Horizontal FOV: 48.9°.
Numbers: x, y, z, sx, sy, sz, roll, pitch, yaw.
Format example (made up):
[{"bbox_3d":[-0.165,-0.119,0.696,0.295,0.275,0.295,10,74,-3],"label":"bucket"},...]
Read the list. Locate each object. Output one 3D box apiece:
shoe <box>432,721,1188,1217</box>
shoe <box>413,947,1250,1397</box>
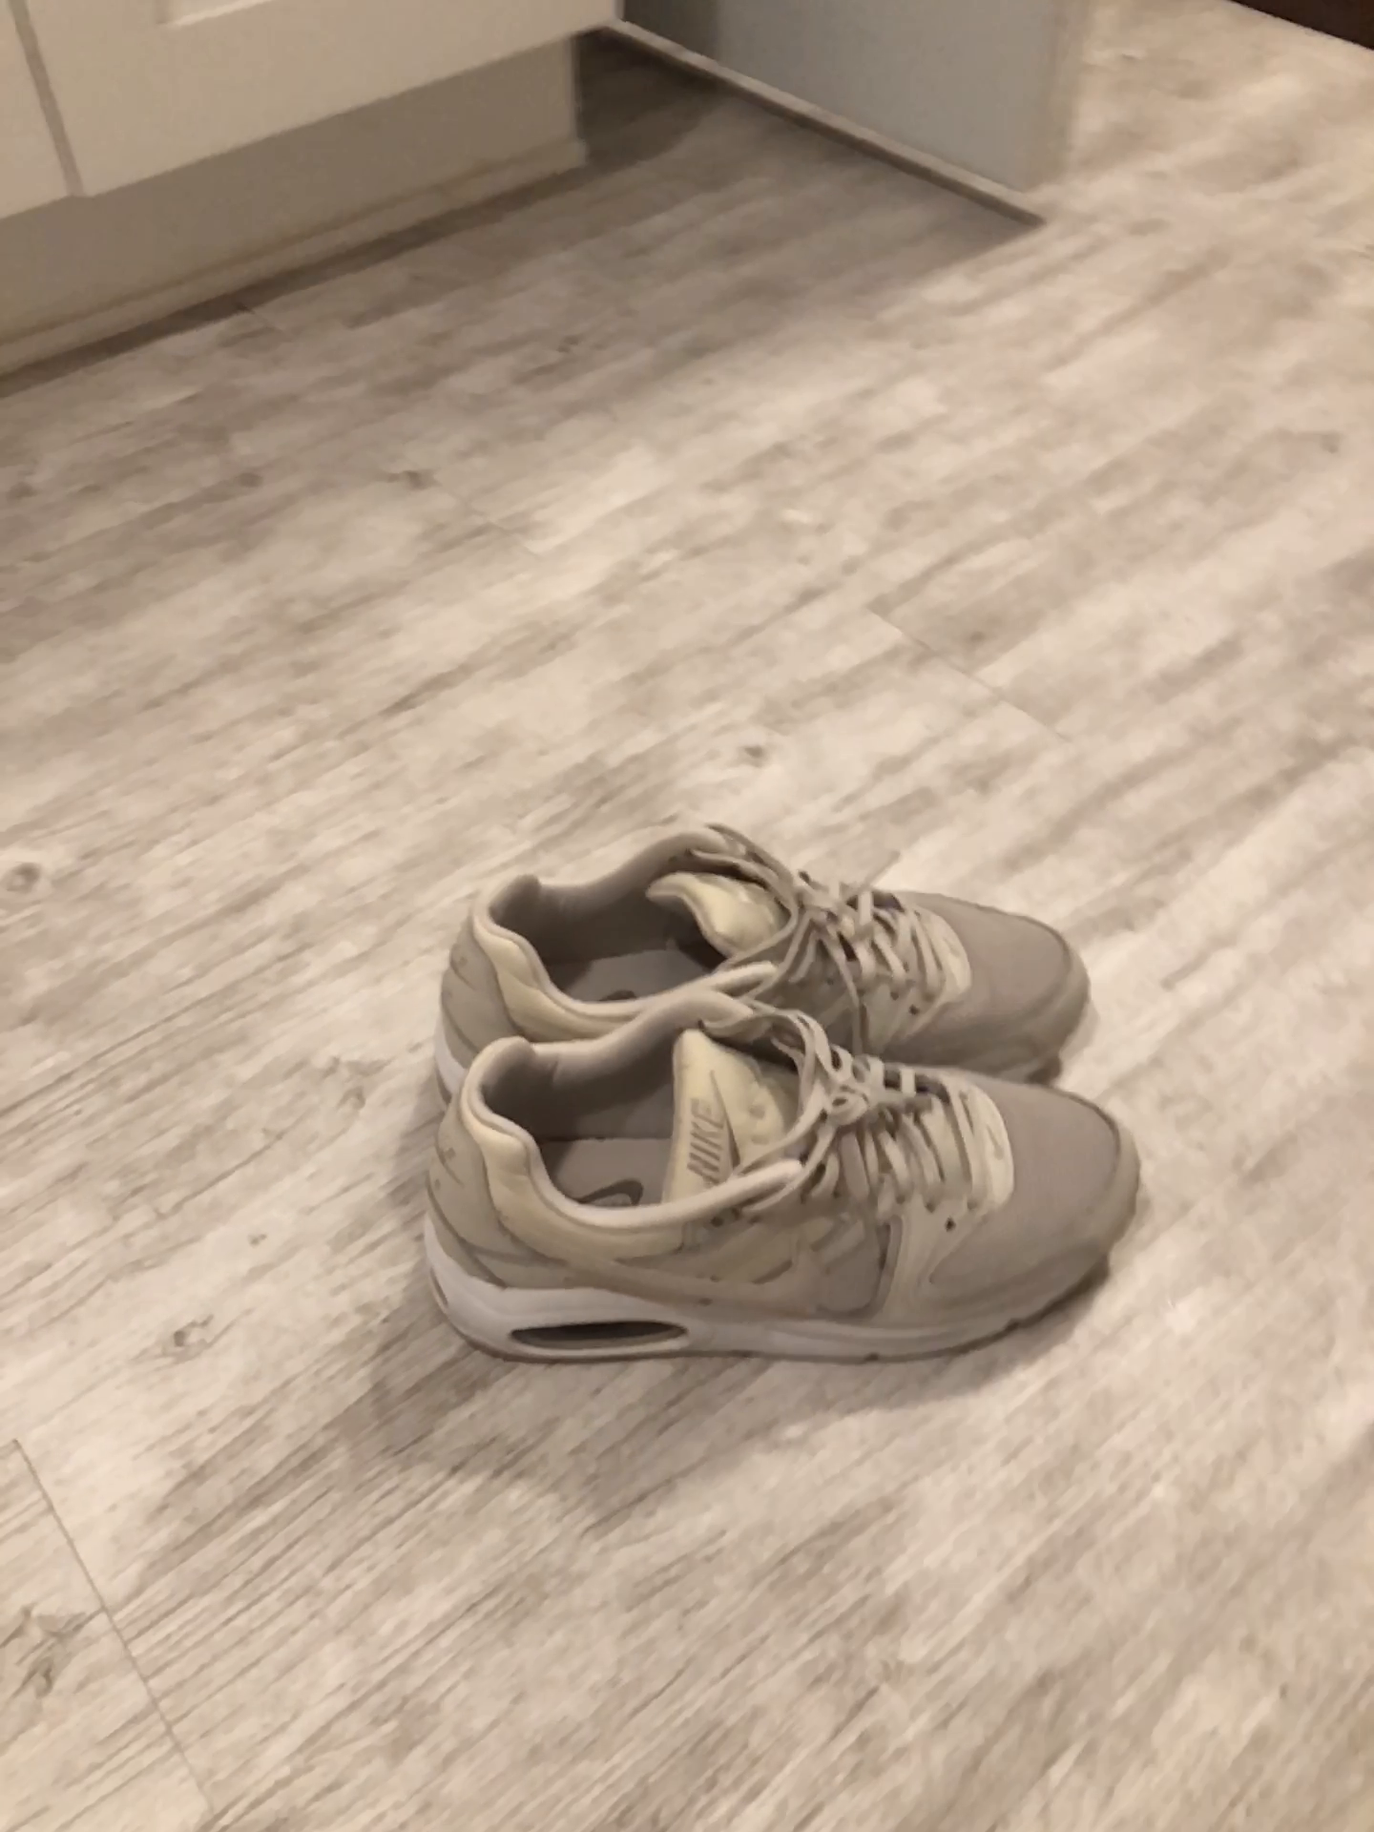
[{"bbox_3d":[0.040,0.021,0.578,0.250,0.120,0.100,-9,49,-5],"label":"shoe"},{"bbox_3d":[0.043,0.091,0.525,0.250,0.120,0.090,-3,49,0],"label":"shoe"}]
